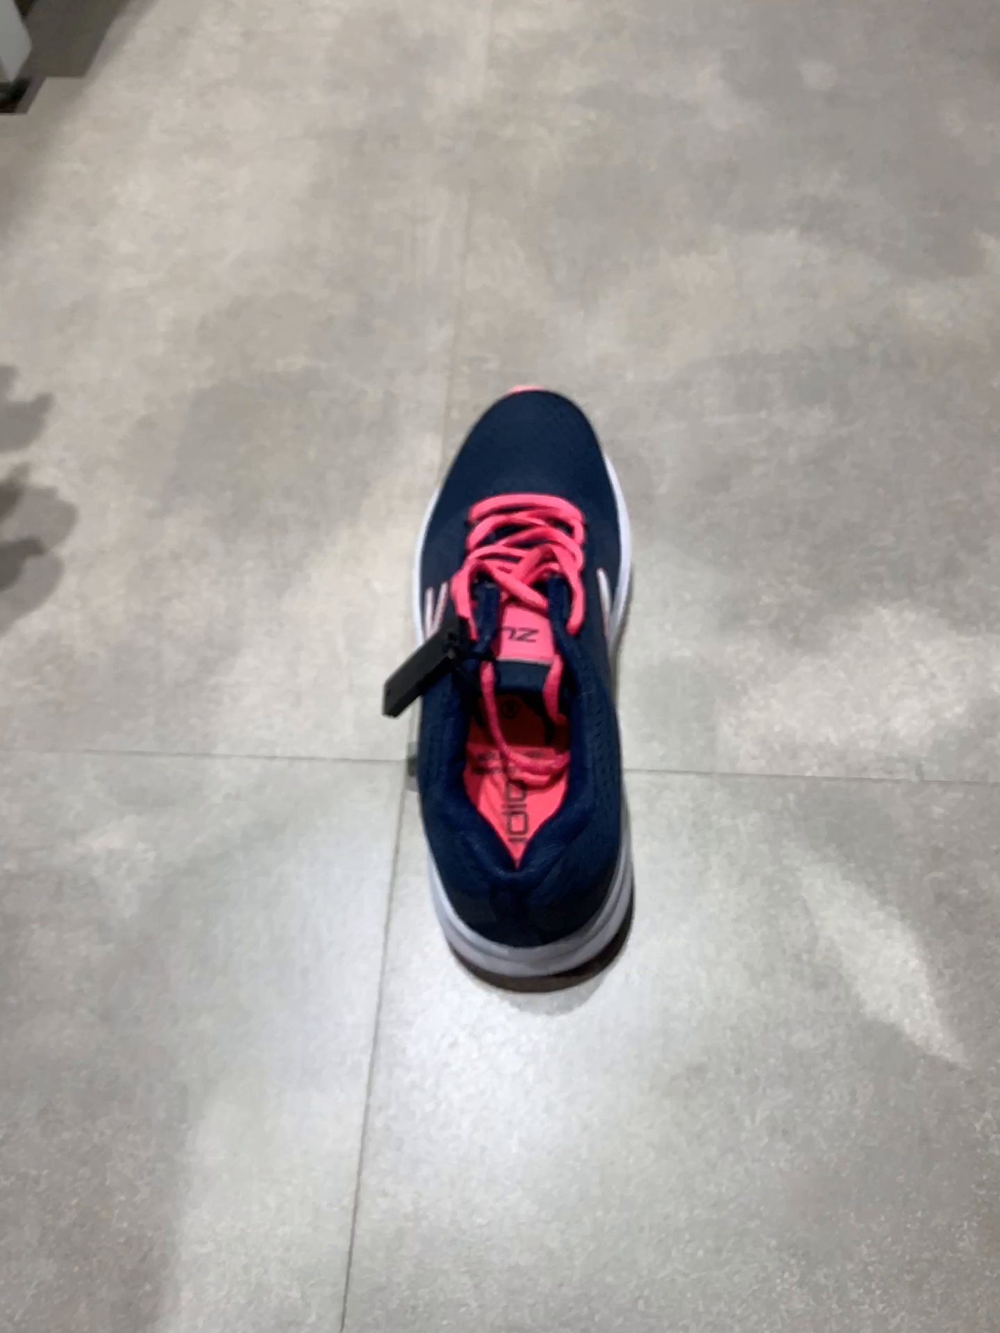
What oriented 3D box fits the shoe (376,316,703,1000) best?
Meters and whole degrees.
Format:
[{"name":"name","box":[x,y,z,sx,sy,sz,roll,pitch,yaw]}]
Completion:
[{"name":"shoe","box":[0.013,-0.009,0.400,0.094,0.090,0.248,-2,61,3]}]
